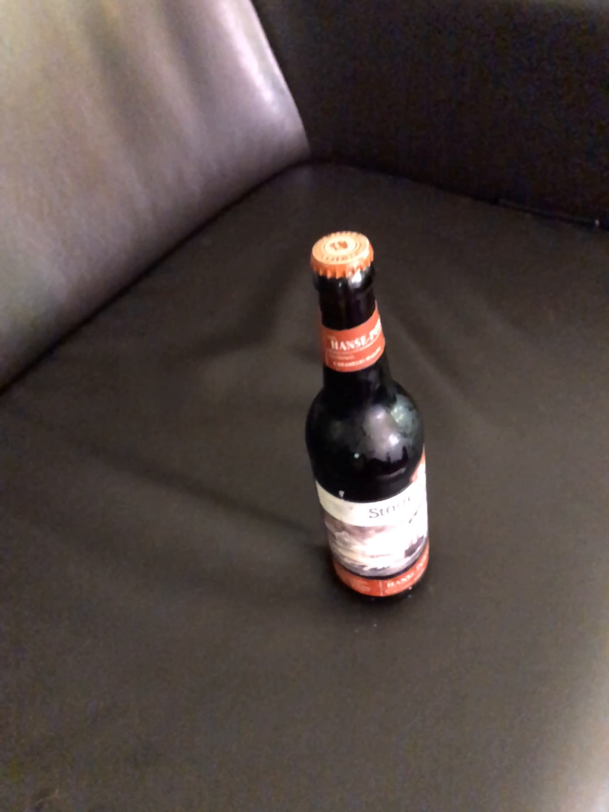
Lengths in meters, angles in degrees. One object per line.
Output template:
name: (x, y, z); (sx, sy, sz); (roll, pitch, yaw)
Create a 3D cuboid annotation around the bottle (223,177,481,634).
bottle: (0.034, 0.022, 0.399); (0.080, 0.278, 0.080); (-4, 48, 5)
